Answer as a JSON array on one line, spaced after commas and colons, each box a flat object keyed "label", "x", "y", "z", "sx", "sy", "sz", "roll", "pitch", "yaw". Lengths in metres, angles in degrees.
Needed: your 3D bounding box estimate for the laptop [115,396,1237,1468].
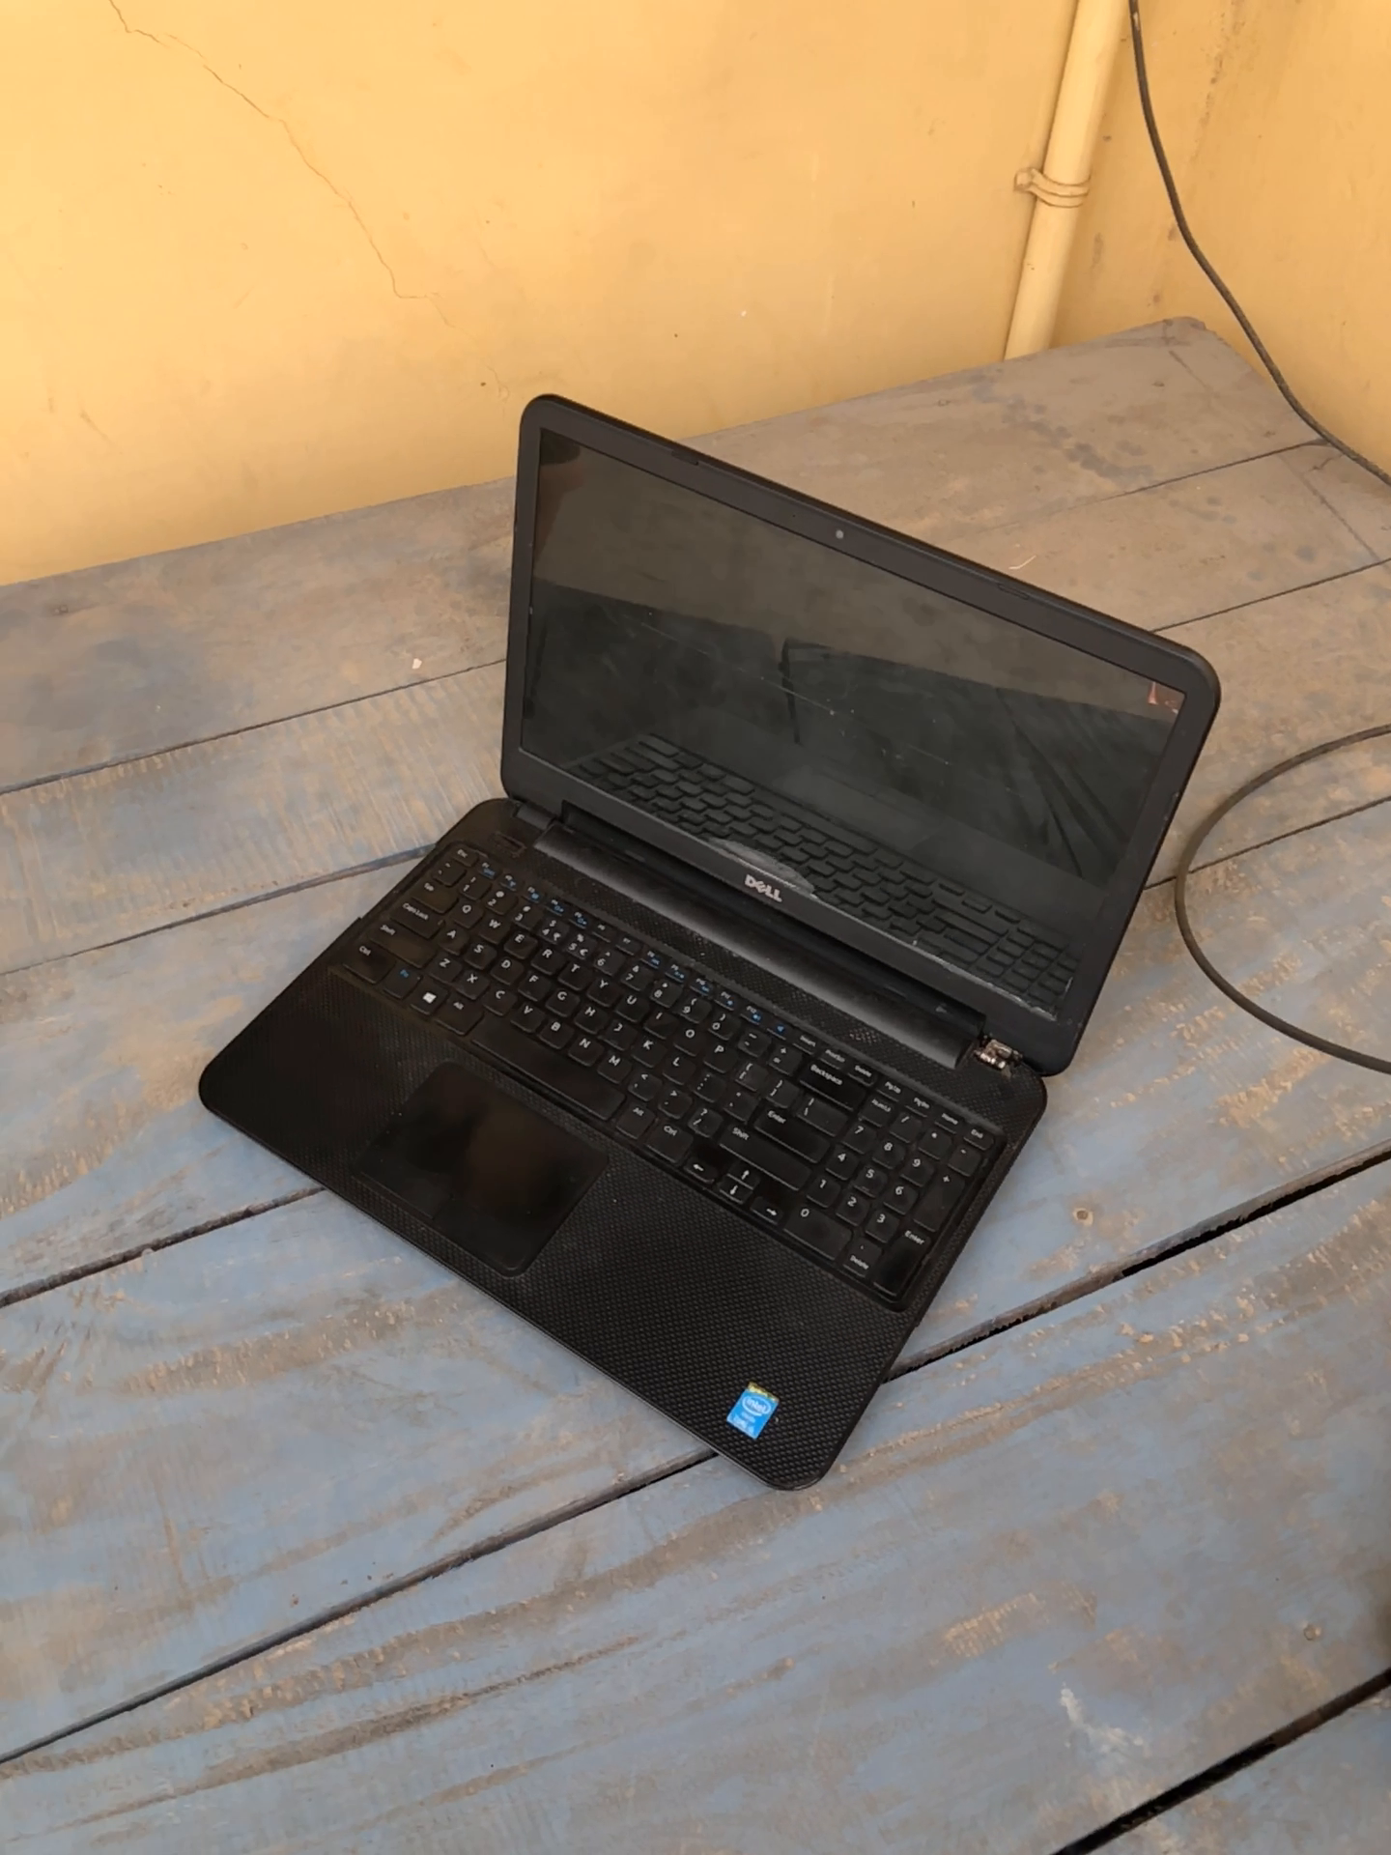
[{"label": "laptop", "x": -0.003, "y": -0.018, "z": 0.691, "sx": 0.332, "sy": 0.214, "sz": 0.307, "roll": 28, "pitch": 56, "yaw": 21}]
